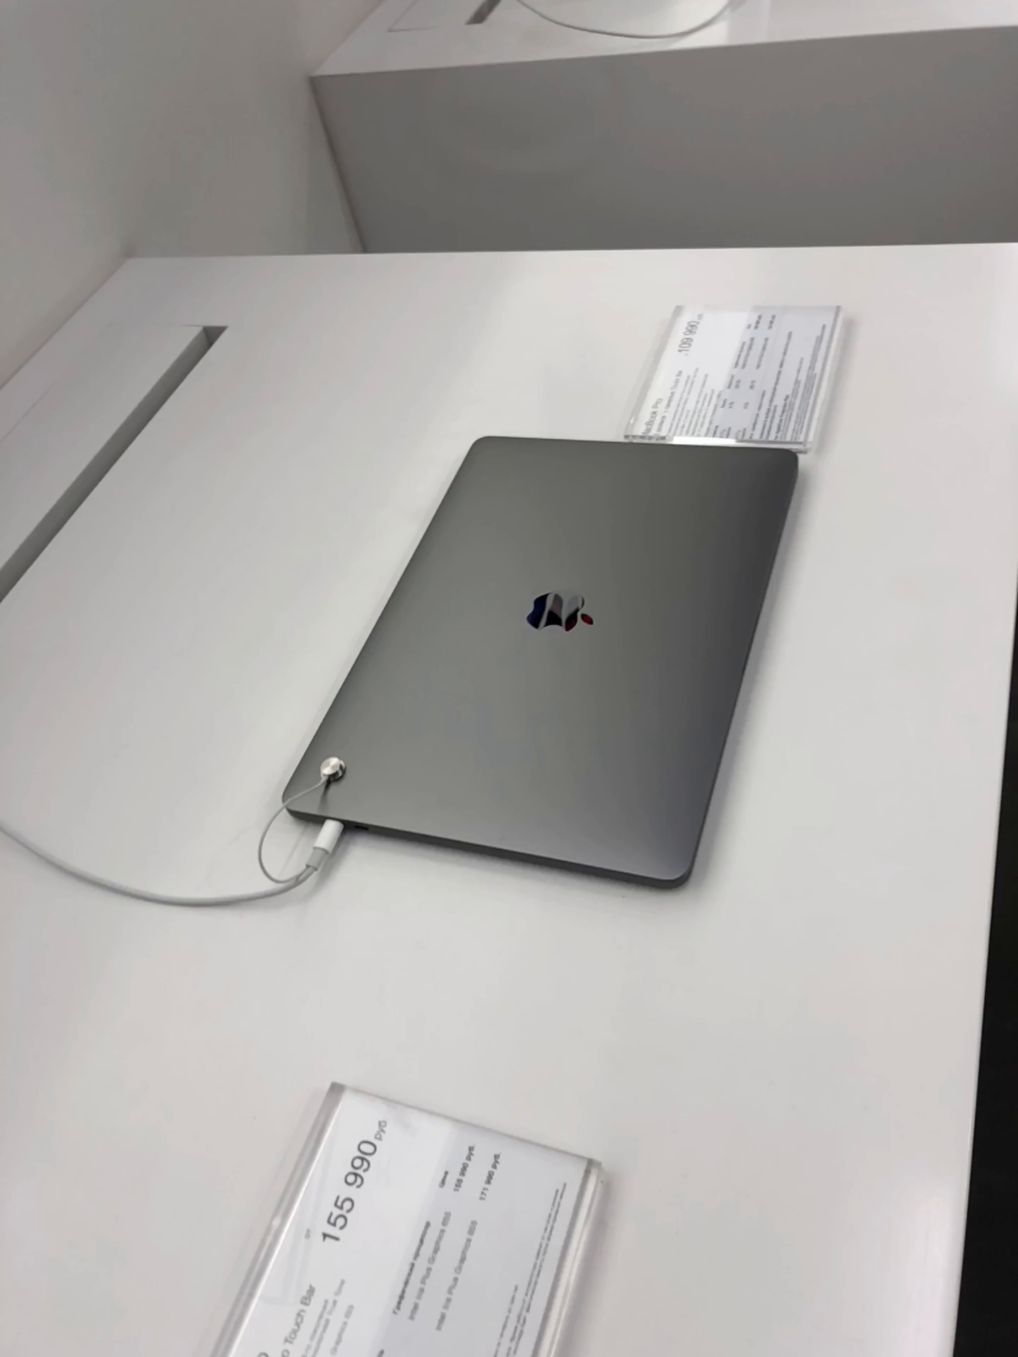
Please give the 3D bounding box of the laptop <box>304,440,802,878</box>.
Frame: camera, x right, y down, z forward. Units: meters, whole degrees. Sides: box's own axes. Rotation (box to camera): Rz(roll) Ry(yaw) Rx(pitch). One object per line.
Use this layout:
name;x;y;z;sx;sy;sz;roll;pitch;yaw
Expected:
laptop;0.036;-0.034;0.616;0.198;0.001;0.294;8;51;20
